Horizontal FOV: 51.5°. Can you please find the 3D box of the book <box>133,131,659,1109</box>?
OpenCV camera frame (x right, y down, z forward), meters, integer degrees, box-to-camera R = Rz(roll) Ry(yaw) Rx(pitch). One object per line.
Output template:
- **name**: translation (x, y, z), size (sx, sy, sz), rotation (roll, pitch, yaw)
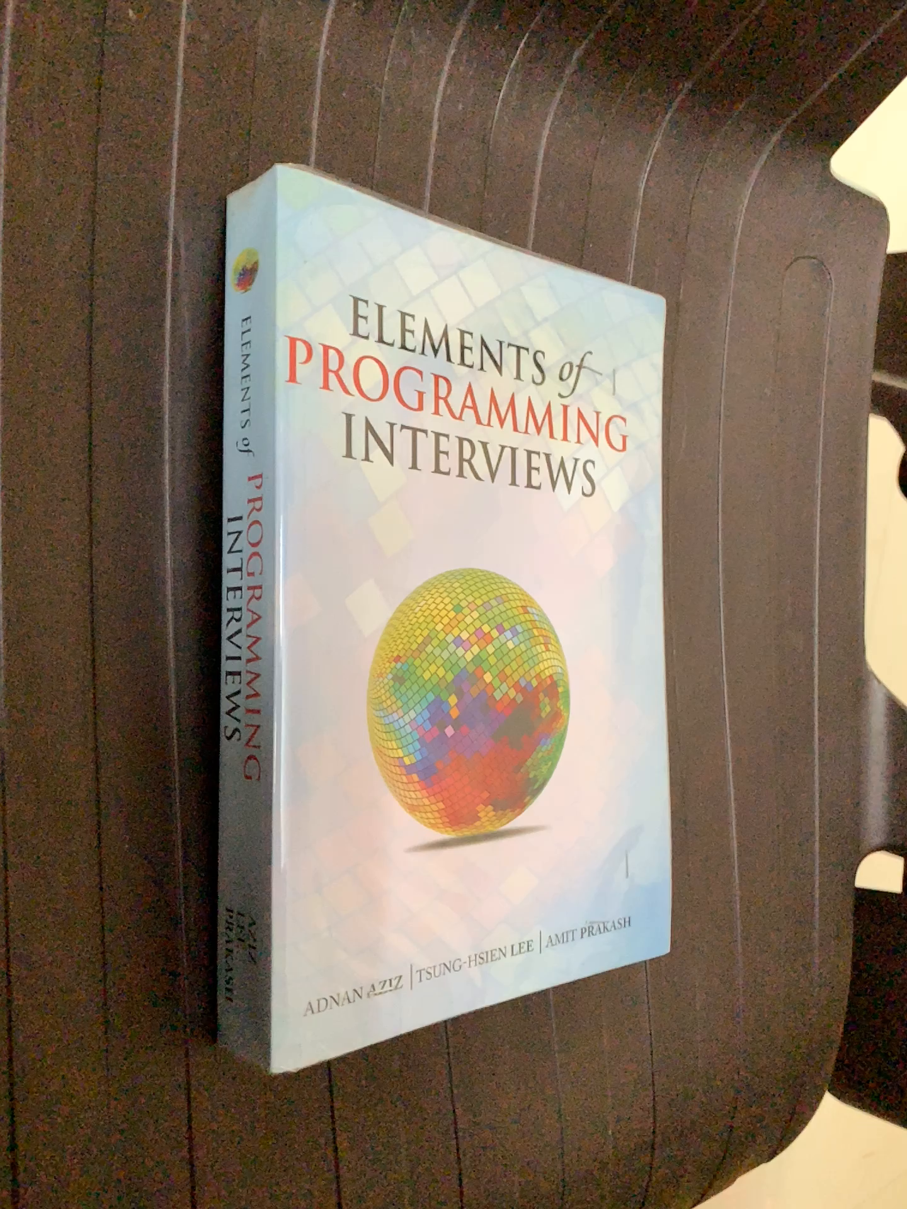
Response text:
- **book**: translation (-0.008, 0.005, 0.291), size (0.161, 0.050, 0.230), rotation (3, 86, -40)
